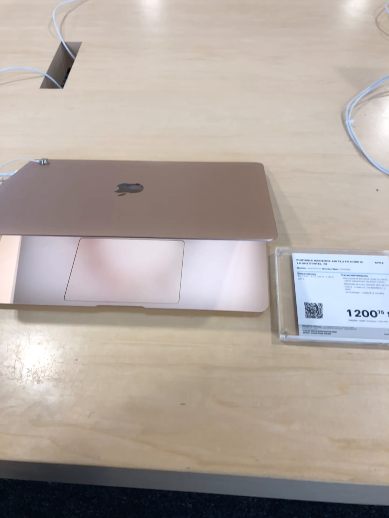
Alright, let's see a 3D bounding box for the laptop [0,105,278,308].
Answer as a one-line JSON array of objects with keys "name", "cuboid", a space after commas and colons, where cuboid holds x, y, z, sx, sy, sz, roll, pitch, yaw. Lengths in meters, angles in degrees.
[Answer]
[{"name": "laptop", "cuboid": [-0.065, -0.062, 0.458, 0.288, 0.093, 0.203, 1, 54, 4]}]
